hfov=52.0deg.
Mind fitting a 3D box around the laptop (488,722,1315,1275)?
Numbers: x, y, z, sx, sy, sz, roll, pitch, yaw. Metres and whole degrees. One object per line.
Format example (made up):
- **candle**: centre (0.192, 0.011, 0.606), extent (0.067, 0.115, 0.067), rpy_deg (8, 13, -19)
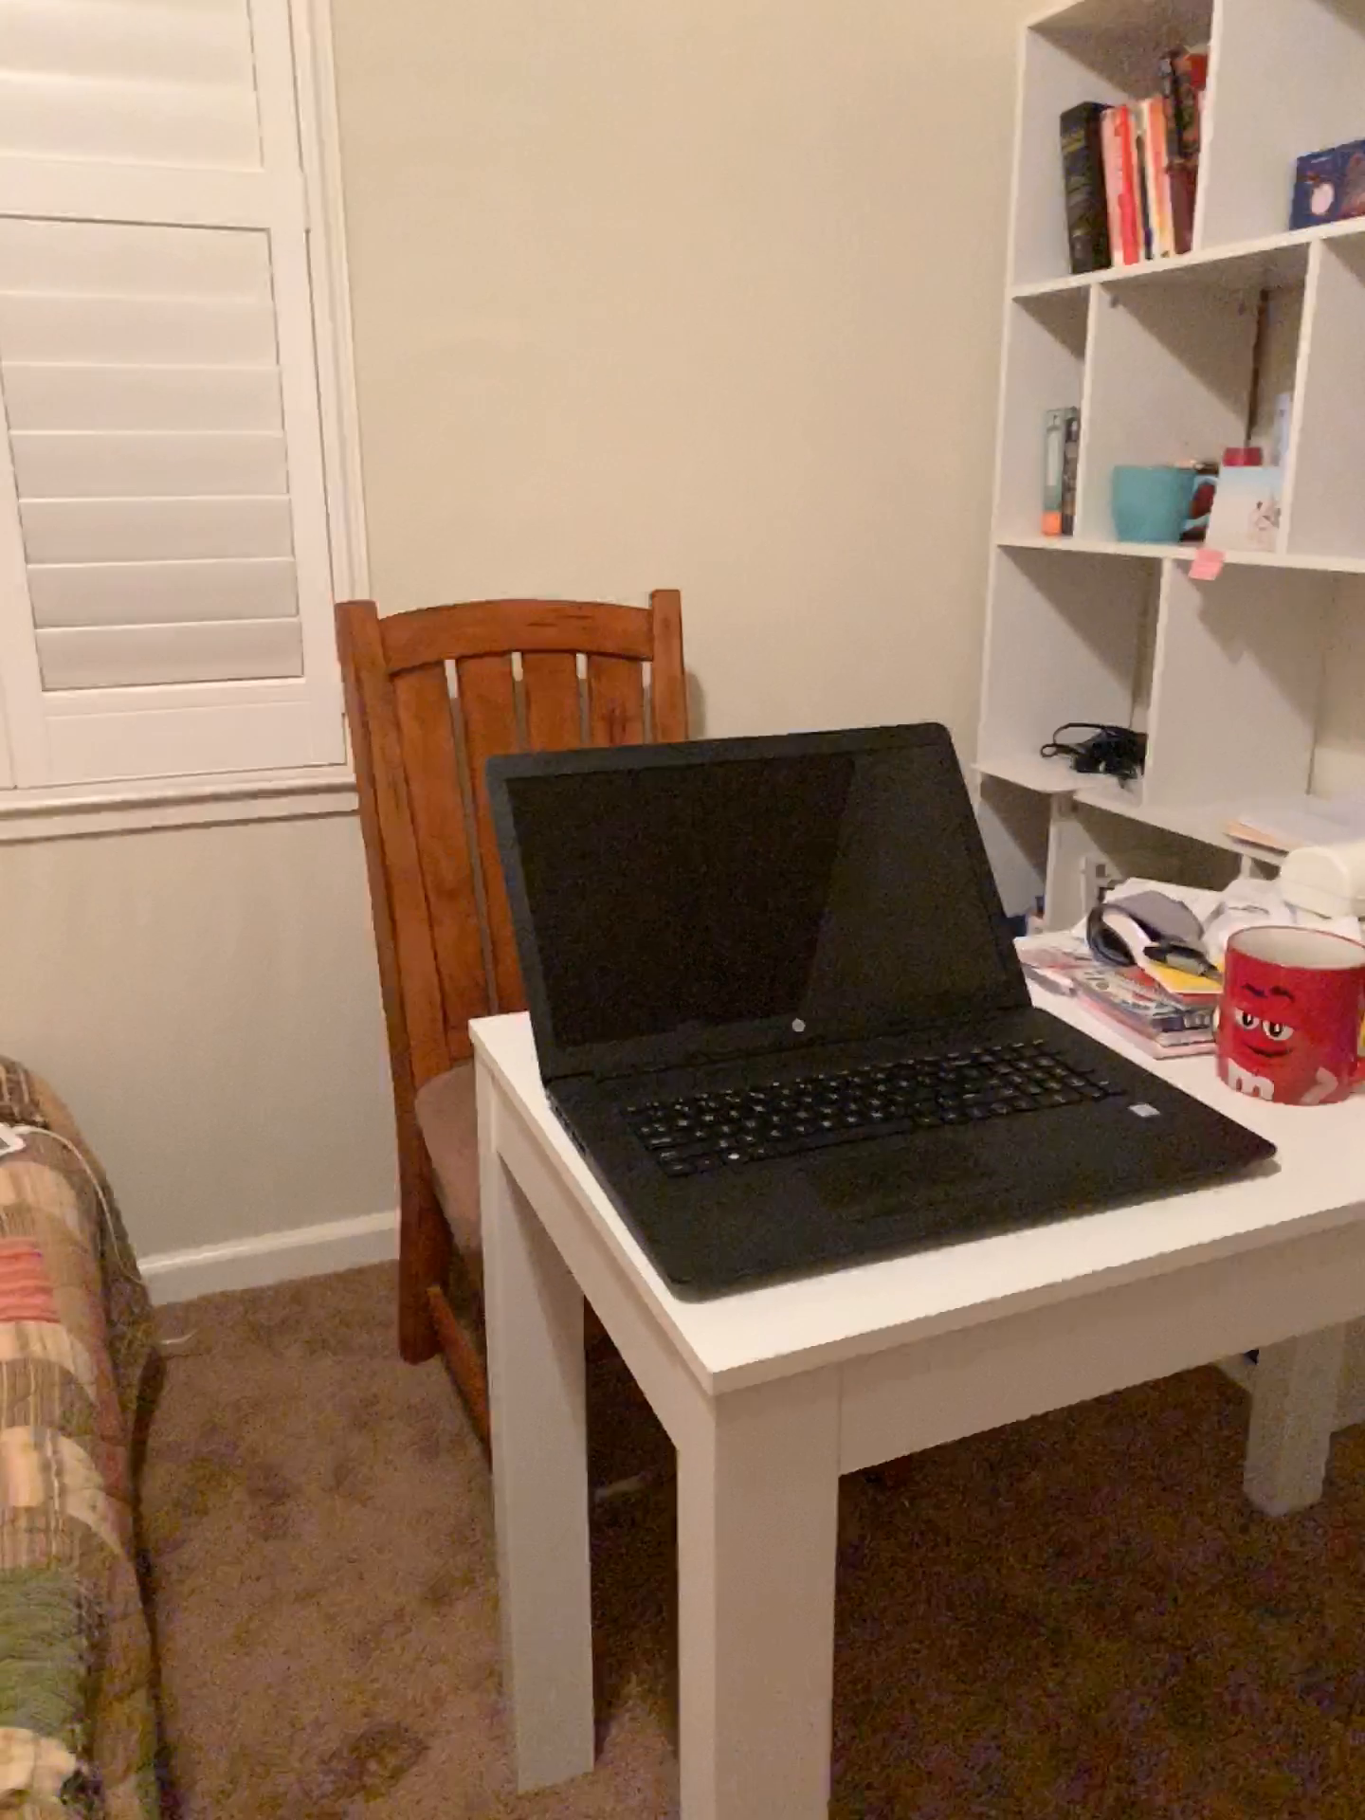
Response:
- **laptop**: centre (0.113, 0.017, 0.973), extent (0.400, 0.197, 0.417), rpy_deg (-7, 19, -20)
